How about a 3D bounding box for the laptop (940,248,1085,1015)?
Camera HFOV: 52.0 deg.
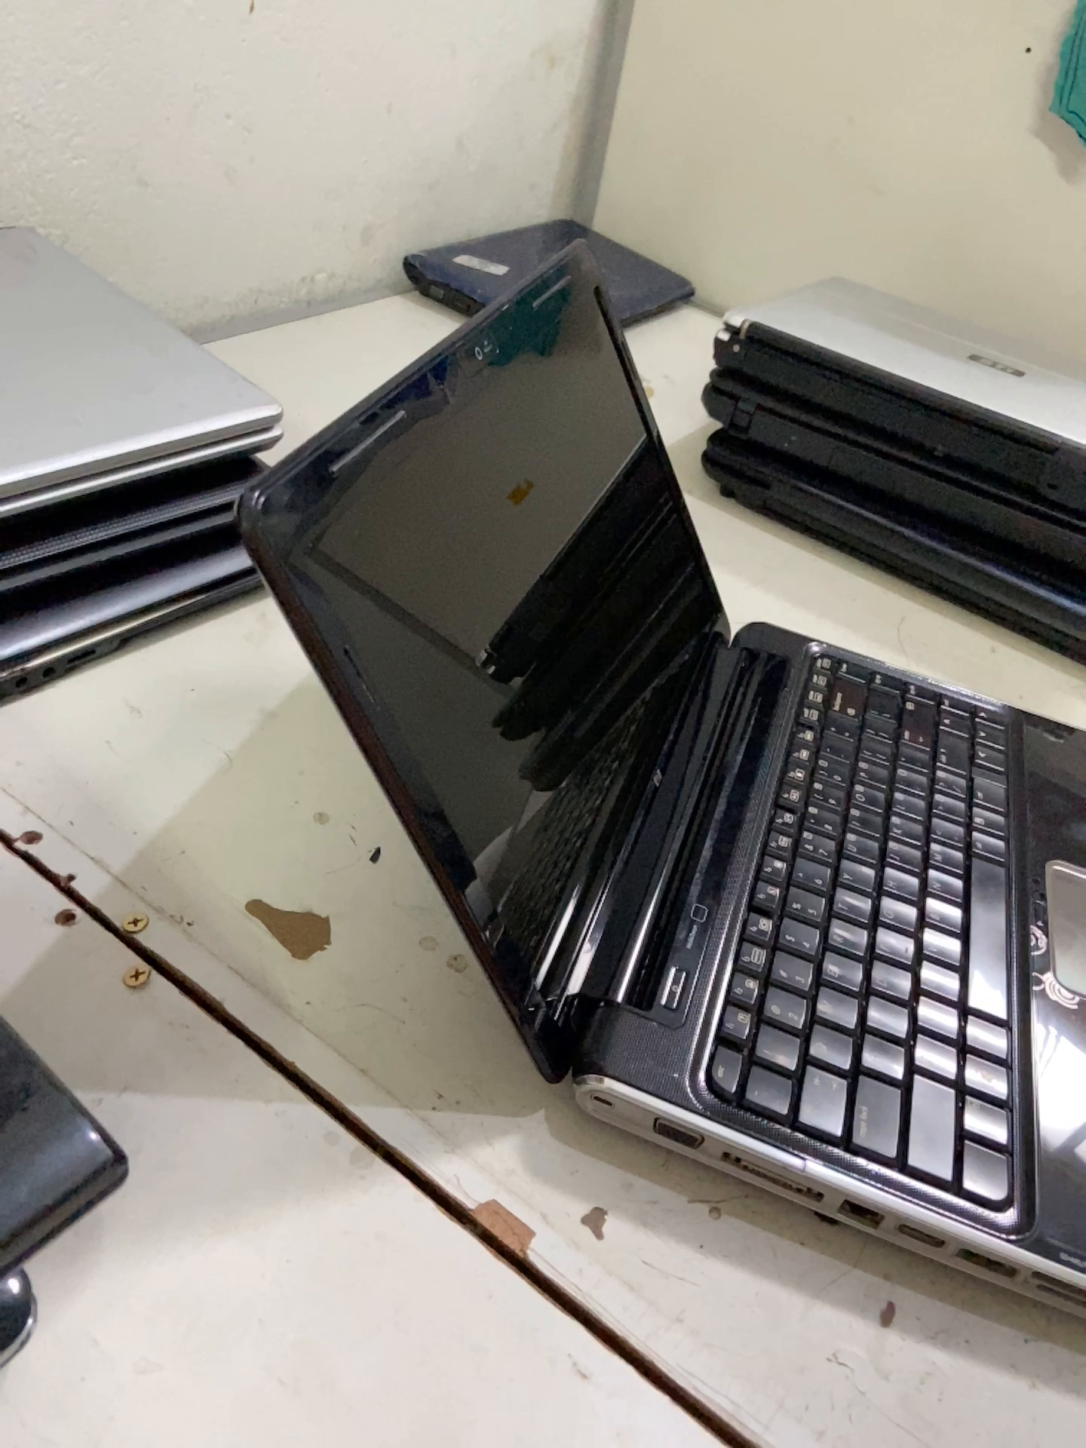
[{"bbox_3d":[0.456,-0.090,0.623,0.371,0.175,0.332,22,39,12],"label":"laptop"}]
